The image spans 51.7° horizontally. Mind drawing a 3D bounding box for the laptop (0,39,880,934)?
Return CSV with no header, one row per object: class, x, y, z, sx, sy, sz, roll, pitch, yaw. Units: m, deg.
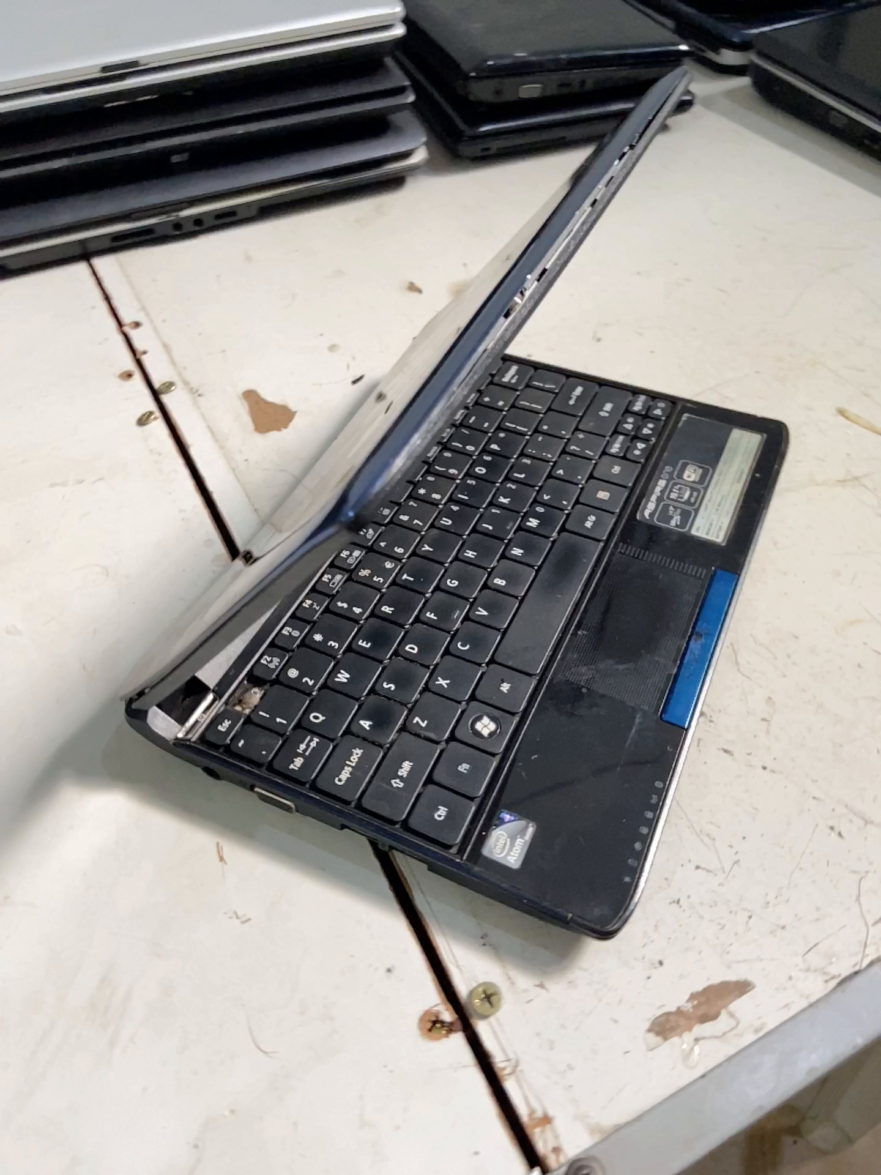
laptop,0.021,-0.059,0.301,0.171,0.131,0.245,18,51,17
